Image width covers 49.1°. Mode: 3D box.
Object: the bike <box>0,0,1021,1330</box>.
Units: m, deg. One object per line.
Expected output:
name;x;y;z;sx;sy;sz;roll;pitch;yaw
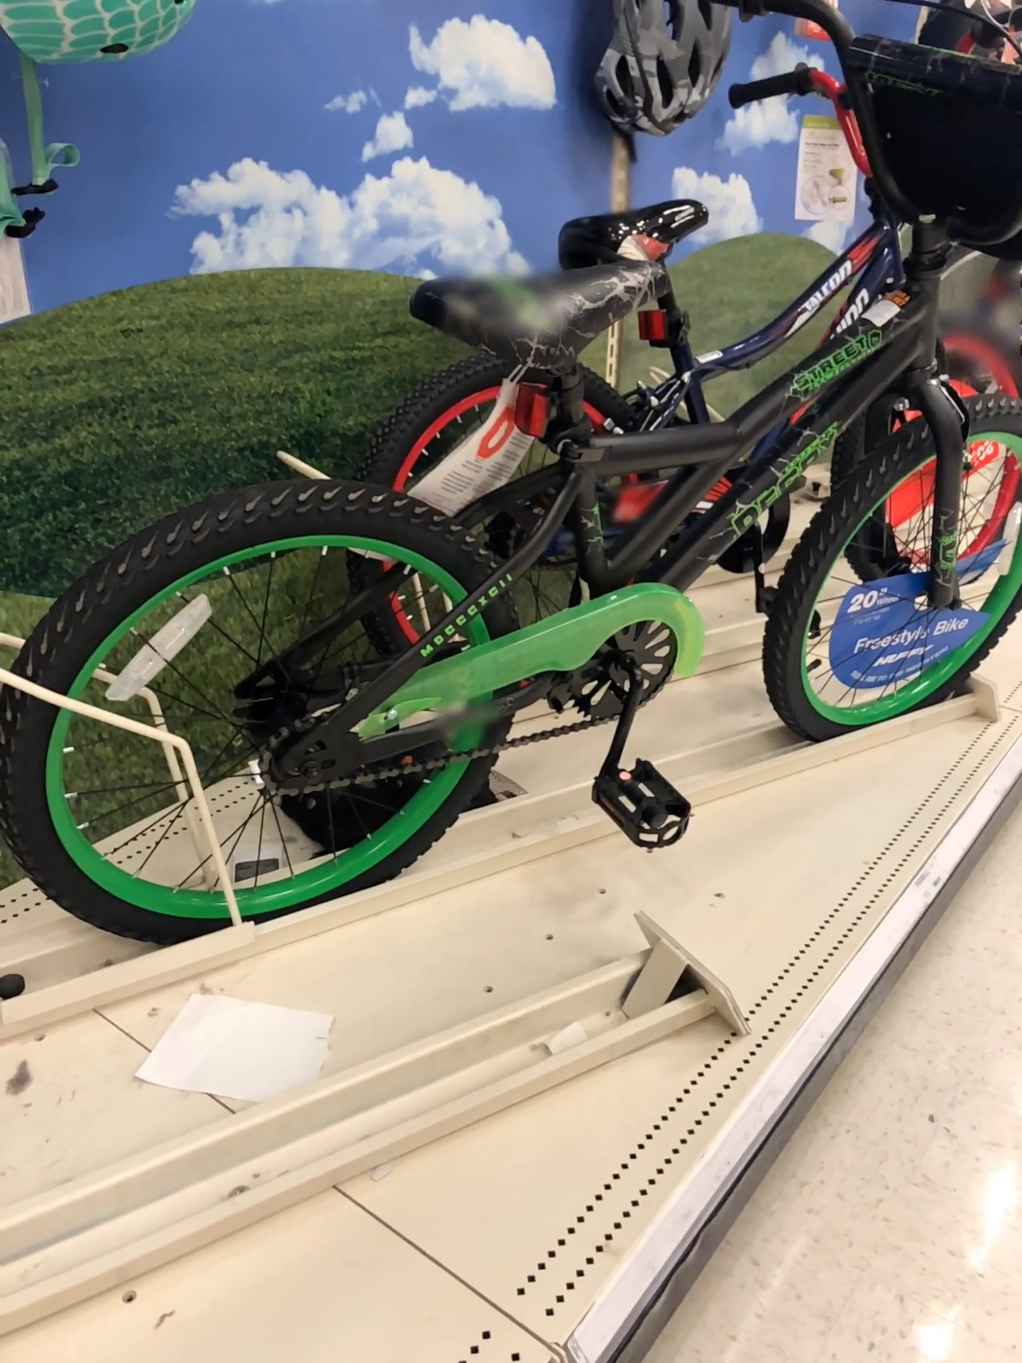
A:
bike;0.156;-0.250;1.143;1.365;0.879;0.629;-15;30;-29
